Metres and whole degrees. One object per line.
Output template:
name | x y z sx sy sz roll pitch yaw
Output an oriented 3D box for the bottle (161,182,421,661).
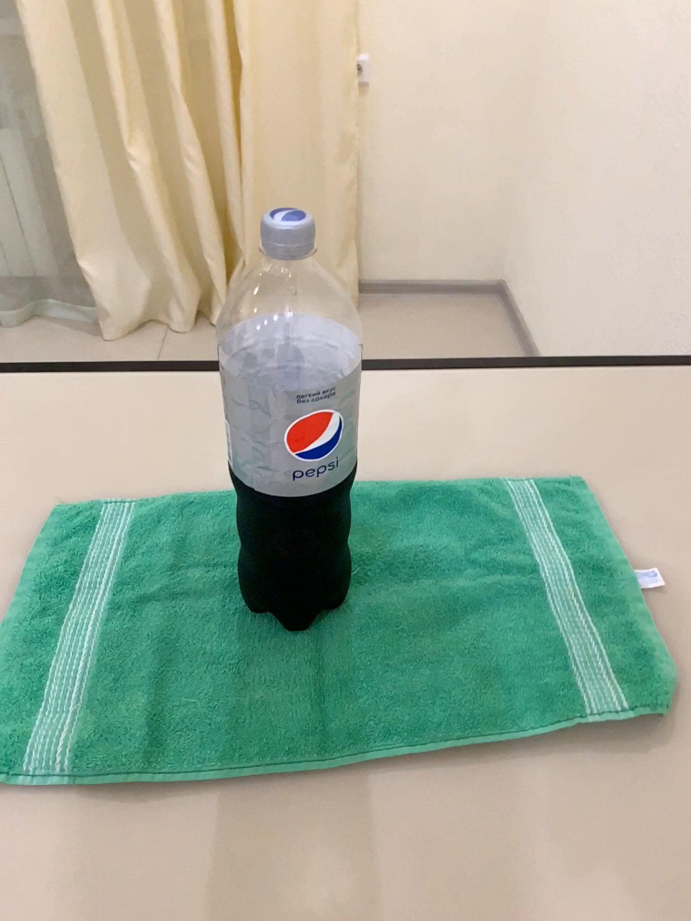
bottle | -0.033 -0.013 0.480 0.100 0.298 0.100 1 40 -1
